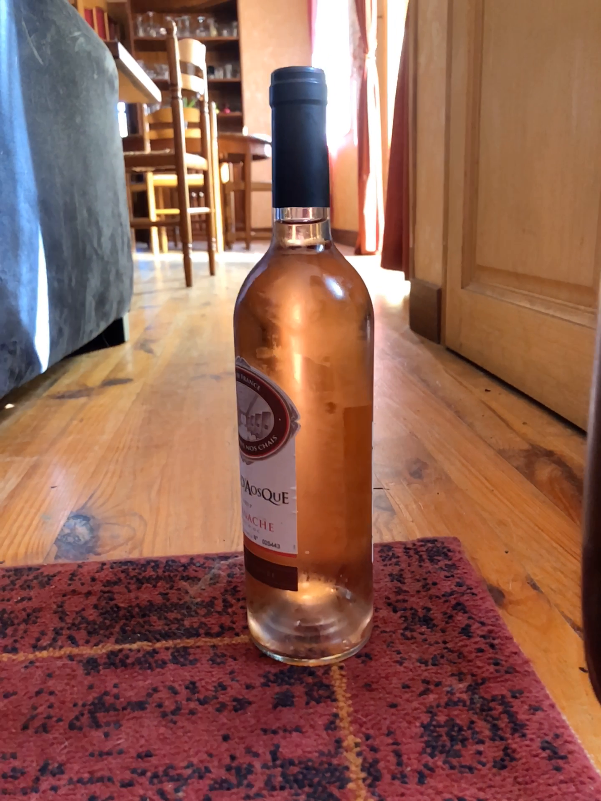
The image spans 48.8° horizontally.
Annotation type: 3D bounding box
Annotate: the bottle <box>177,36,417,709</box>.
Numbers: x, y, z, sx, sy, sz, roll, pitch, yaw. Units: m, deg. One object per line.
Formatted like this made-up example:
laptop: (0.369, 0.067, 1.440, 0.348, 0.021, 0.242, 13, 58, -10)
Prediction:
bottle: (0.001, -0.009, 0.353, 0.080, 0.309, 0.090, -11, 17, -28)
